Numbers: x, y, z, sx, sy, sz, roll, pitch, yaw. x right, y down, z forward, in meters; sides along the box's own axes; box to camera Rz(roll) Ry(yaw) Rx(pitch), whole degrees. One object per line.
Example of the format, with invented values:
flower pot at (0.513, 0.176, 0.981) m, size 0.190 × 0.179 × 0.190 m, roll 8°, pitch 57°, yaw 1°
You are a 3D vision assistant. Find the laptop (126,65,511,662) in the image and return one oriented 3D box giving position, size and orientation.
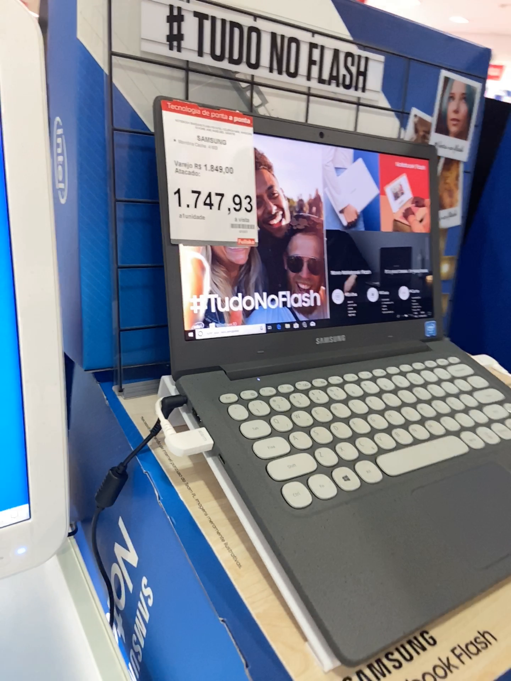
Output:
laptop at (0.114, -0.043, 0.415) m, size 0.323 × 0.181 × 0.345 m, roll -6°, pitch 37°, yaw -32°
